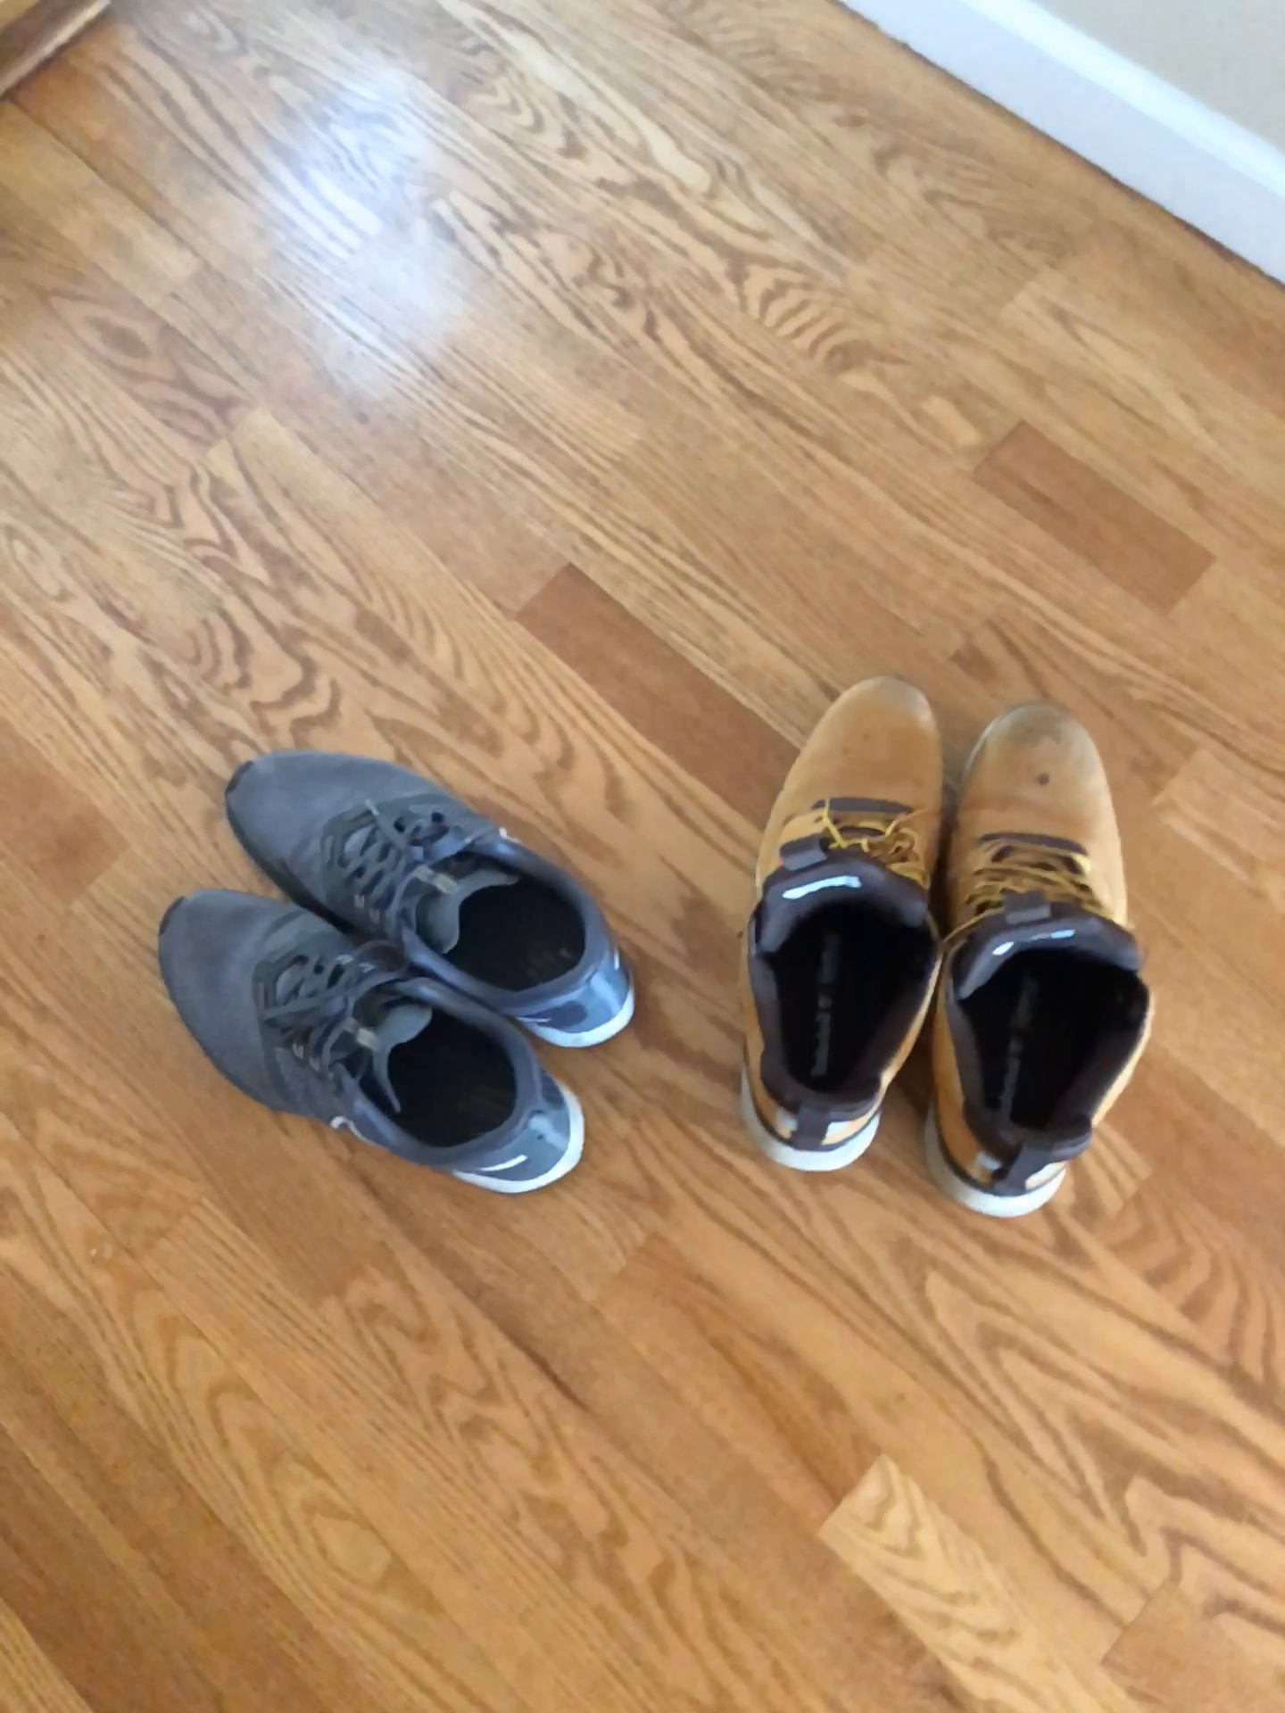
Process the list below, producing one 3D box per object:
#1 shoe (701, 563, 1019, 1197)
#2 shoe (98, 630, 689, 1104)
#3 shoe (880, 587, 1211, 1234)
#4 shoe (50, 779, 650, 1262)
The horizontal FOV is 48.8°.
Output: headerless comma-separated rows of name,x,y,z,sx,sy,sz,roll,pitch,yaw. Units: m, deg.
shoe,0.123,0.016,0.804,0.130,0.140,0.320,7,74,7
shoe,-0.151,0.006,0.891,0.330,0.100,0.140,28,77,12
shoe,0.220,0.033,0.785,0.130,0.140,0.320,7,74,7
shoe,-0.172,0.100,0.863,0.320,0.100,0.140,28,77,12
